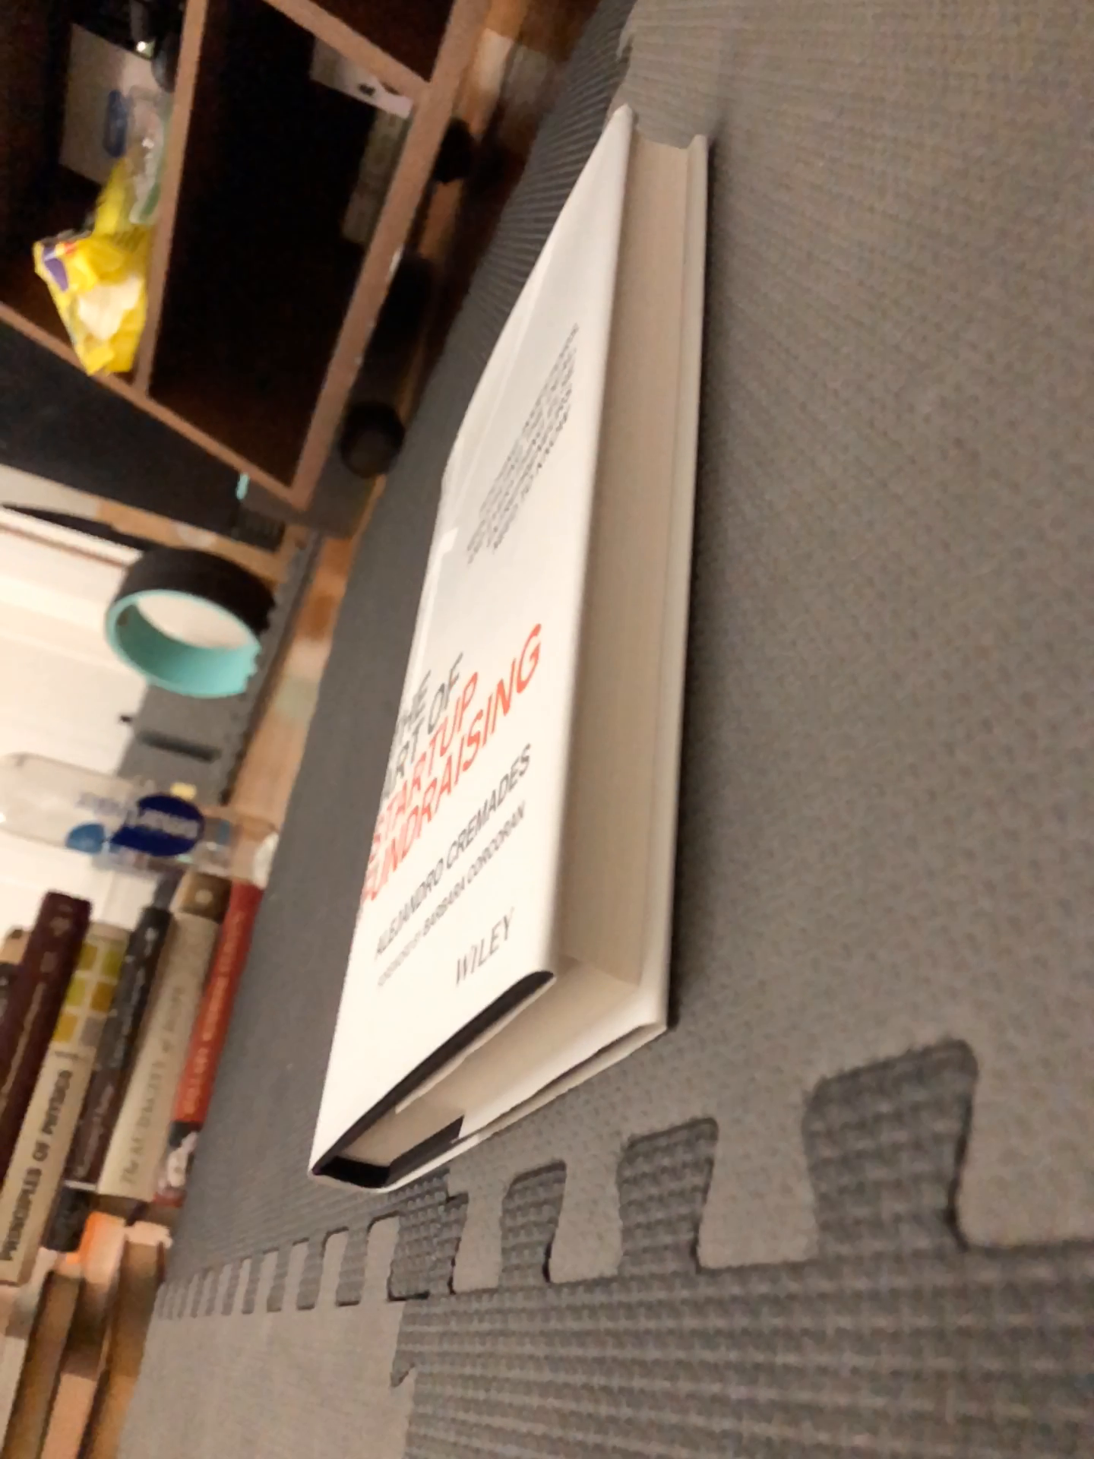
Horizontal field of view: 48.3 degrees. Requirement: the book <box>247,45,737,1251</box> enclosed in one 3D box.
[{"bbox_3d":[-0.013,-0.017,0.301,0.170,0.030,0.250,129,155,-54],"label":"book"}]
